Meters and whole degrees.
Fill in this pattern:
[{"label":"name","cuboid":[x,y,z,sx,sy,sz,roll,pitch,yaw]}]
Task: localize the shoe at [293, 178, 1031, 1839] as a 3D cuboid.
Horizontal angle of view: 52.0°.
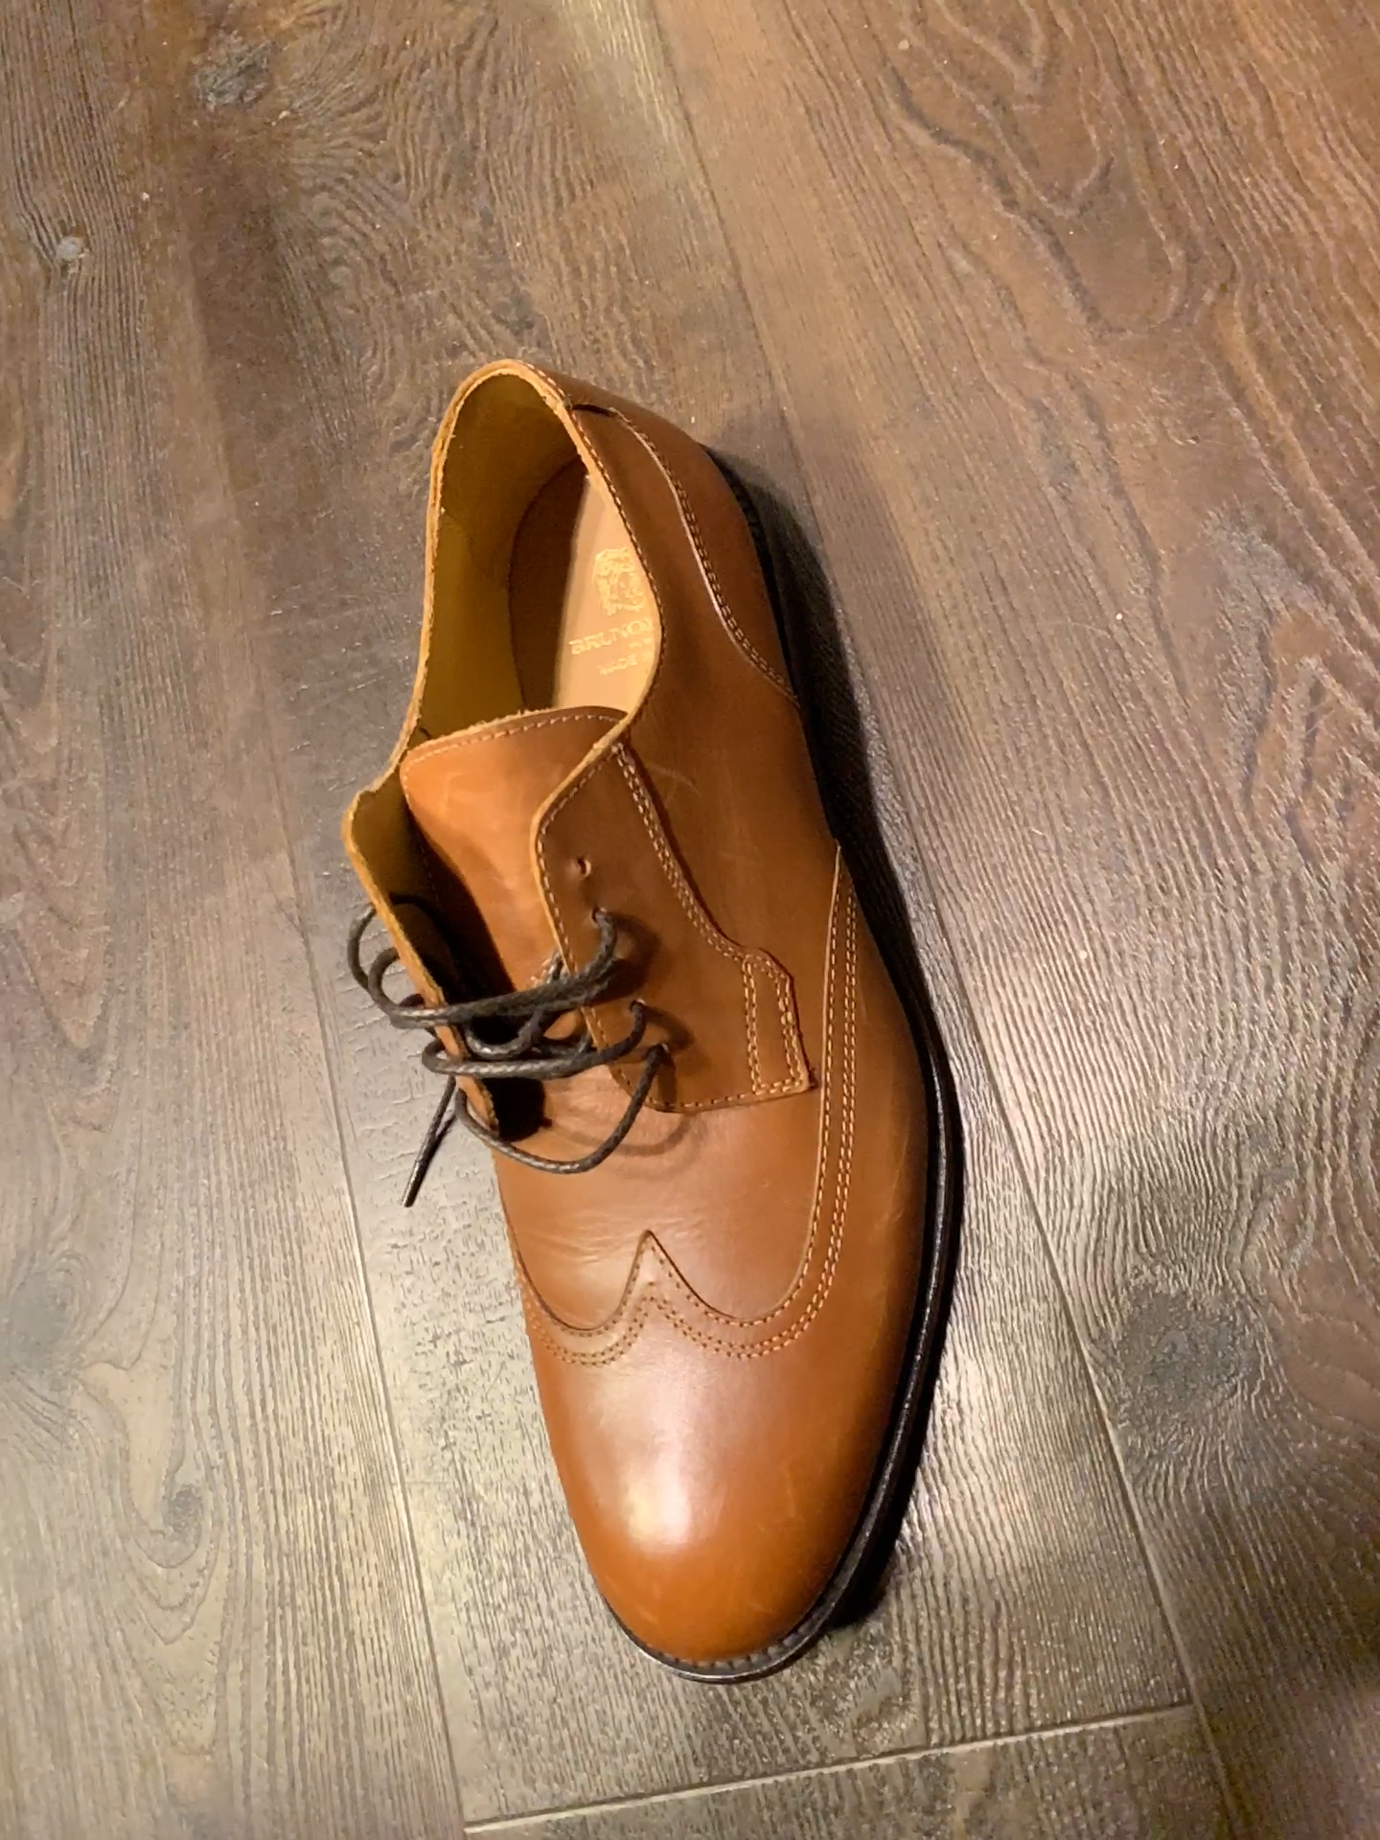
[{"label":"shoe","cuboid":[-0.009,0.014,0.337,0.120,0.110,0.321,-10,75,19]}]
